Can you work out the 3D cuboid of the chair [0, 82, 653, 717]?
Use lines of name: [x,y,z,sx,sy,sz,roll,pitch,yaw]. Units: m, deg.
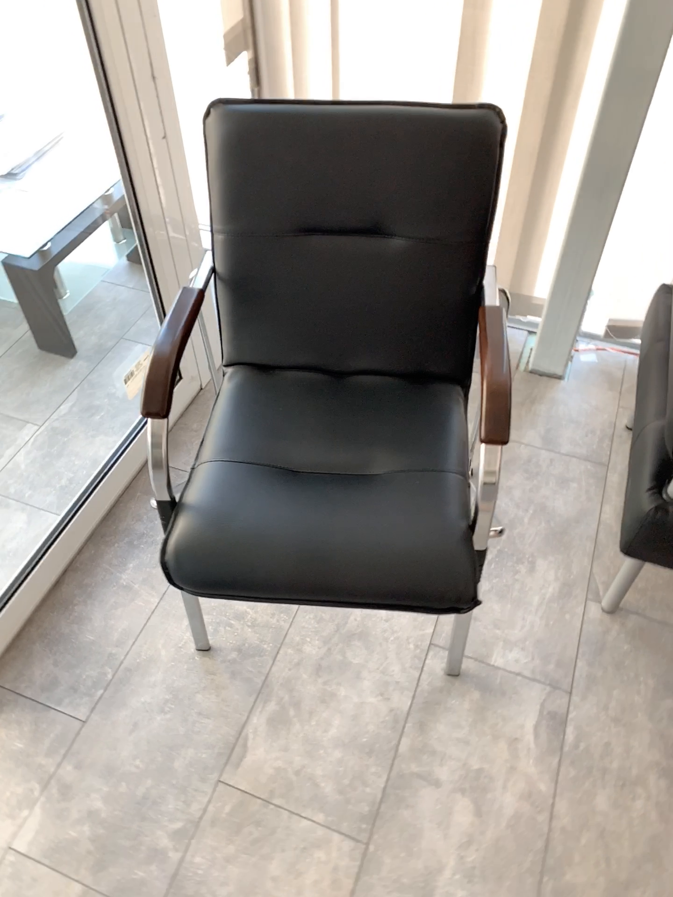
chair: [-0.007,-0.060,1.198,0.680,0.827,0.703,3,49,4]
